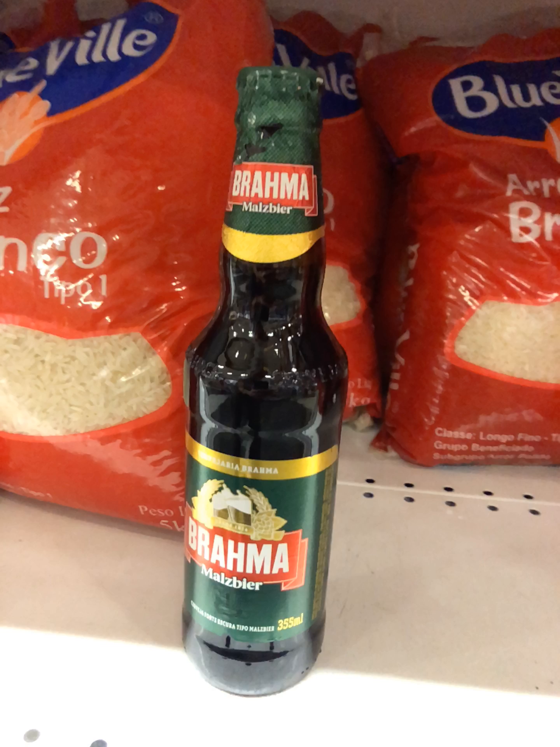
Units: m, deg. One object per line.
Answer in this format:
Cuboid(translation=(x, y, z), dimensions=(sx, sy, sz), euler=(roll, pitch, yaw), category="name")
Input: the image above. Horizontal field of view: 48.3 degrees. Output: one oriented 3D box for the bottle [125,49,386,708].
Cuboid(translation=(-0.009, 0.010, 0.235), dimensions=(0.070, 0.228, 0.060), euler=(6, 22, 8), category="bottle")
